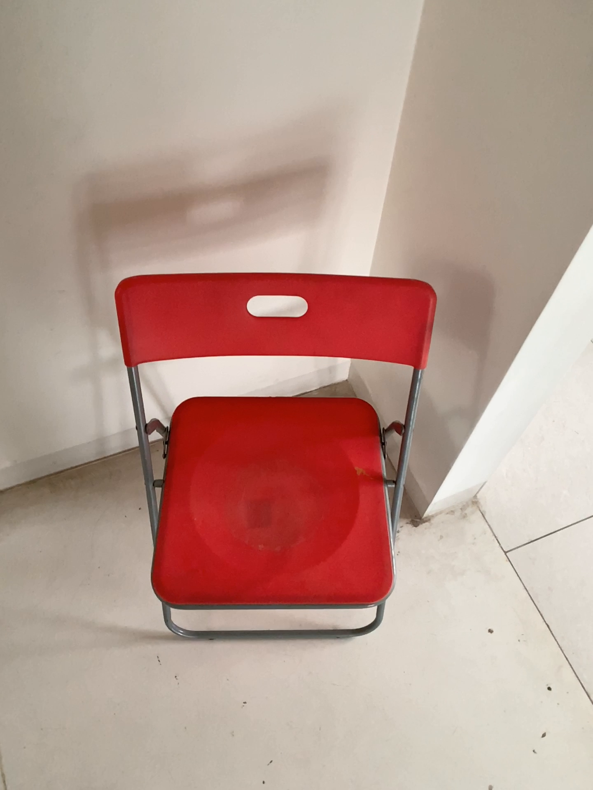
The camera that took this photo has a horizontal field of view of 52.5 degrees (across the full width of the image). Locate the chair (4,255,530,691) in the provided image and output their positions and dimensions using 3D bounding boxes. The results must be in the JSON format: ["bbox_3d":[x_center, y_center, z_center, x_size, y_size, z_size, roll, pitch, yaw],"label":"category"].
[{"bbox_3d":[-0.042,0.172,0.998,0.530,0.609,0.501,0,58,-3],"label":"chair"}]
